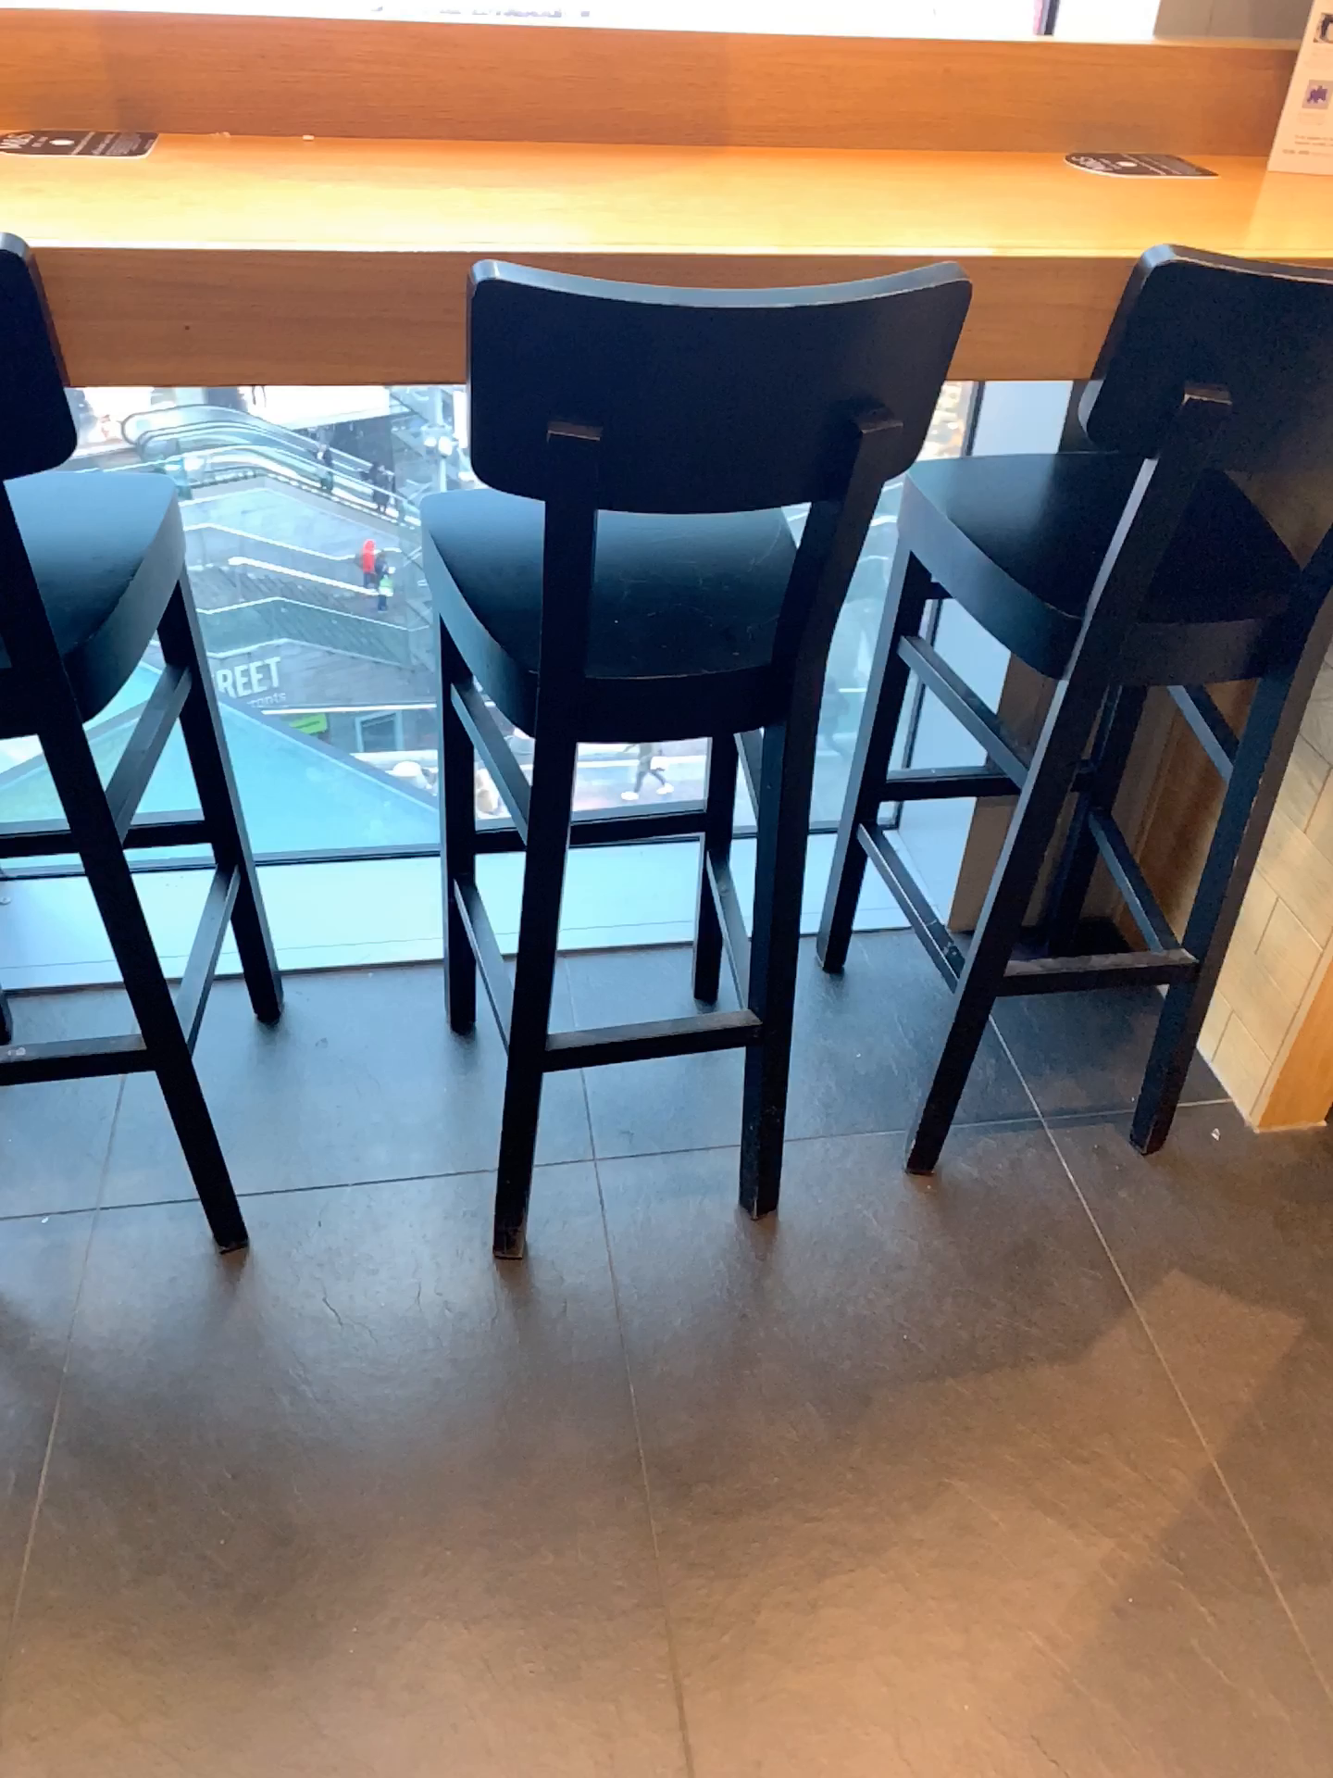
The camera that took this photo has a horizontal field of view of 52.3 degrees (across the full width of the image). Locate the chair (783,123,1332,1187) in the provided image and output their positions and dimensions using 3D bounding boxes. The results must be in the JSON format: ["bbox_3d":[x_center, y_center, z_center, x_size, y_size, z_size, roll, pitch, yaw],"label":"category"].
[{"bbox_3d":[0.434,-0.218,1.465,0.423,1.001,0.465,-5,38,-10],"label":"chair"}]

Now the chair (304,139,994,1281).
[{"bbox_3d":[-0.066,-0.146,1.364,0.453,1.001,0.465,-6,38,-12],"label":"chair"}]

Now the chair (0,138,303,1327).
[{"bbox_3d":[-0.621,-0.106,1.291,0.392,1.001,0.465,-4,38,-9],"label":"chair"}]
